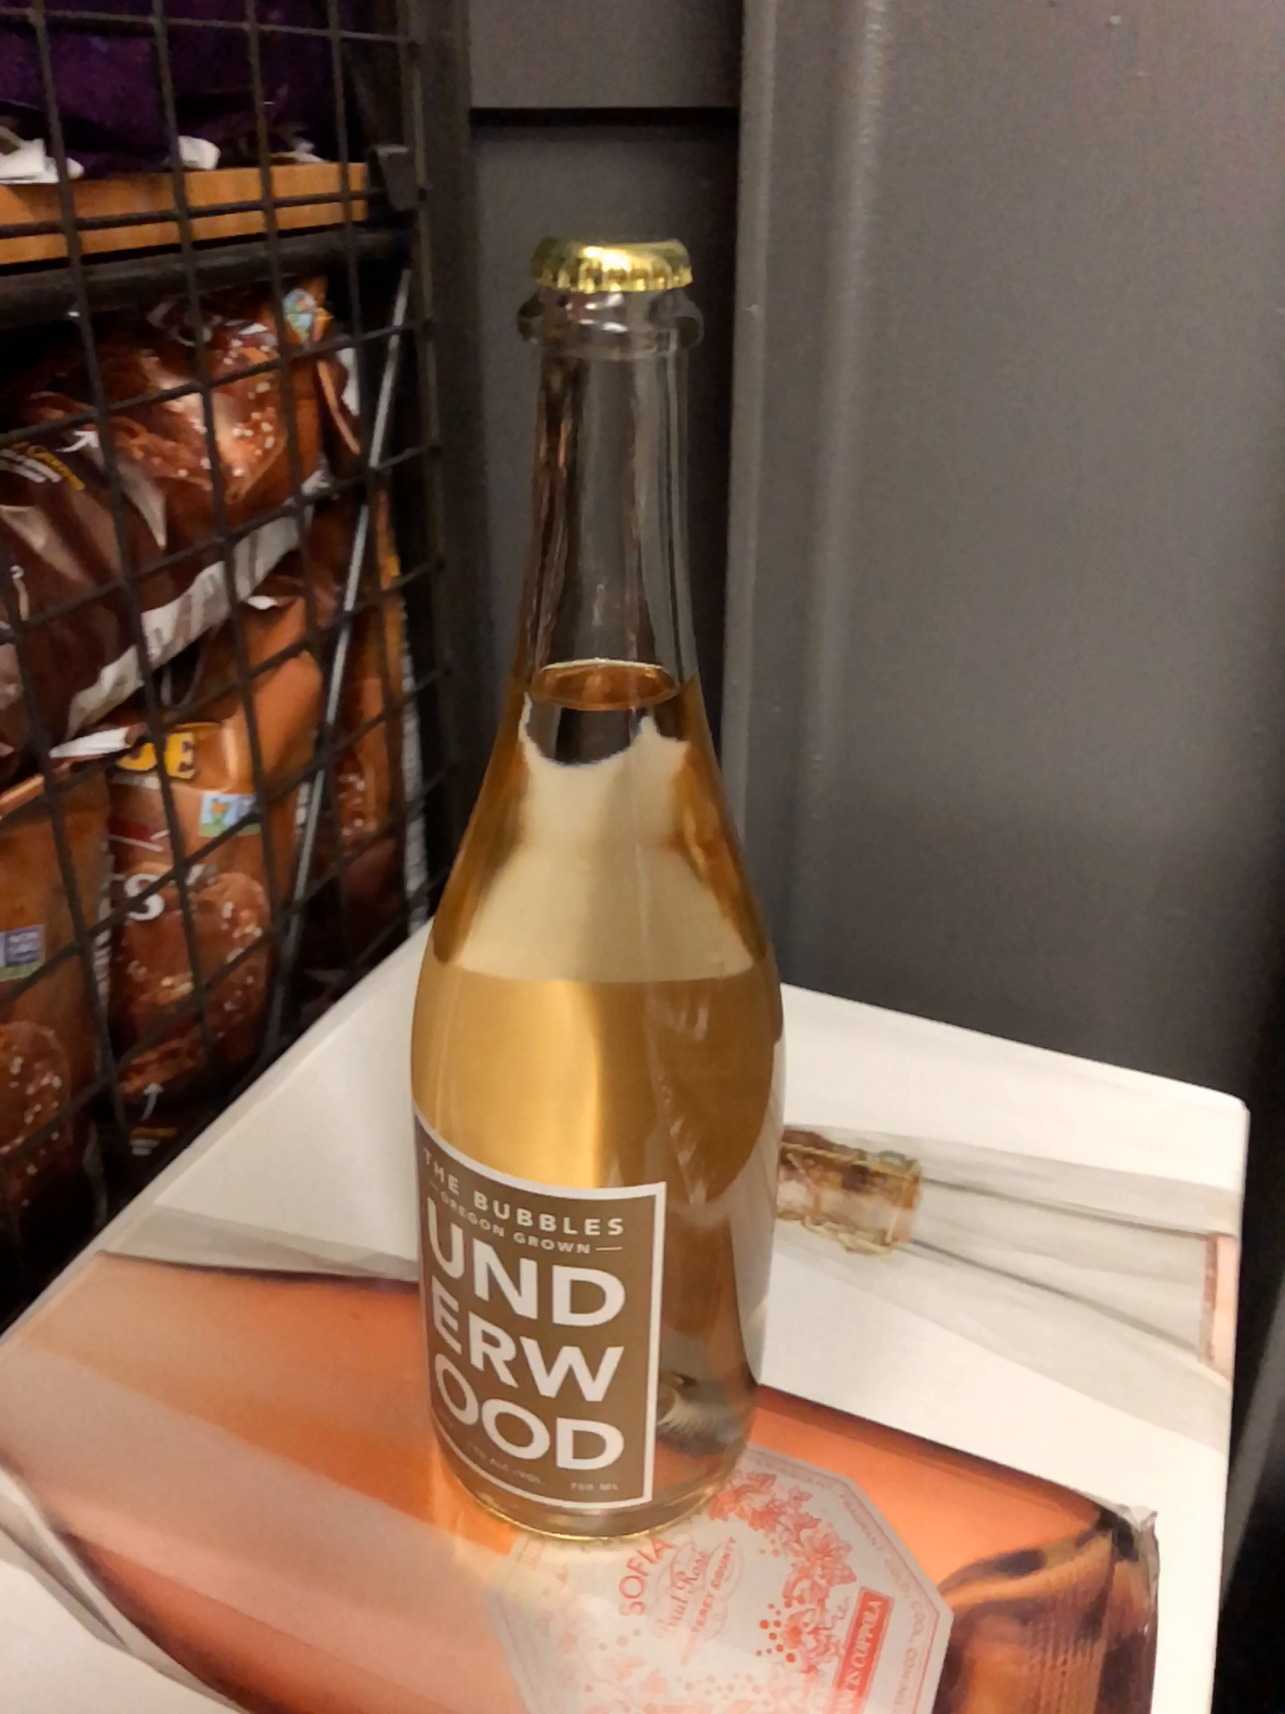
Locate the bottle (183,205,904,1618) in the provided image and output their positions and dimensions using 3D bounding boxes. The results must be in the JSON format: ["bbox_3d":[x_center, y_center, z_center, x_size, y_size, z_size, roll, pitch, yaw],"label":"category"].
[{"bbox_3d":[-0.013,0.018,0.332,0.099,0.304,0.095,0,27,0],"label":"bottle"}]
